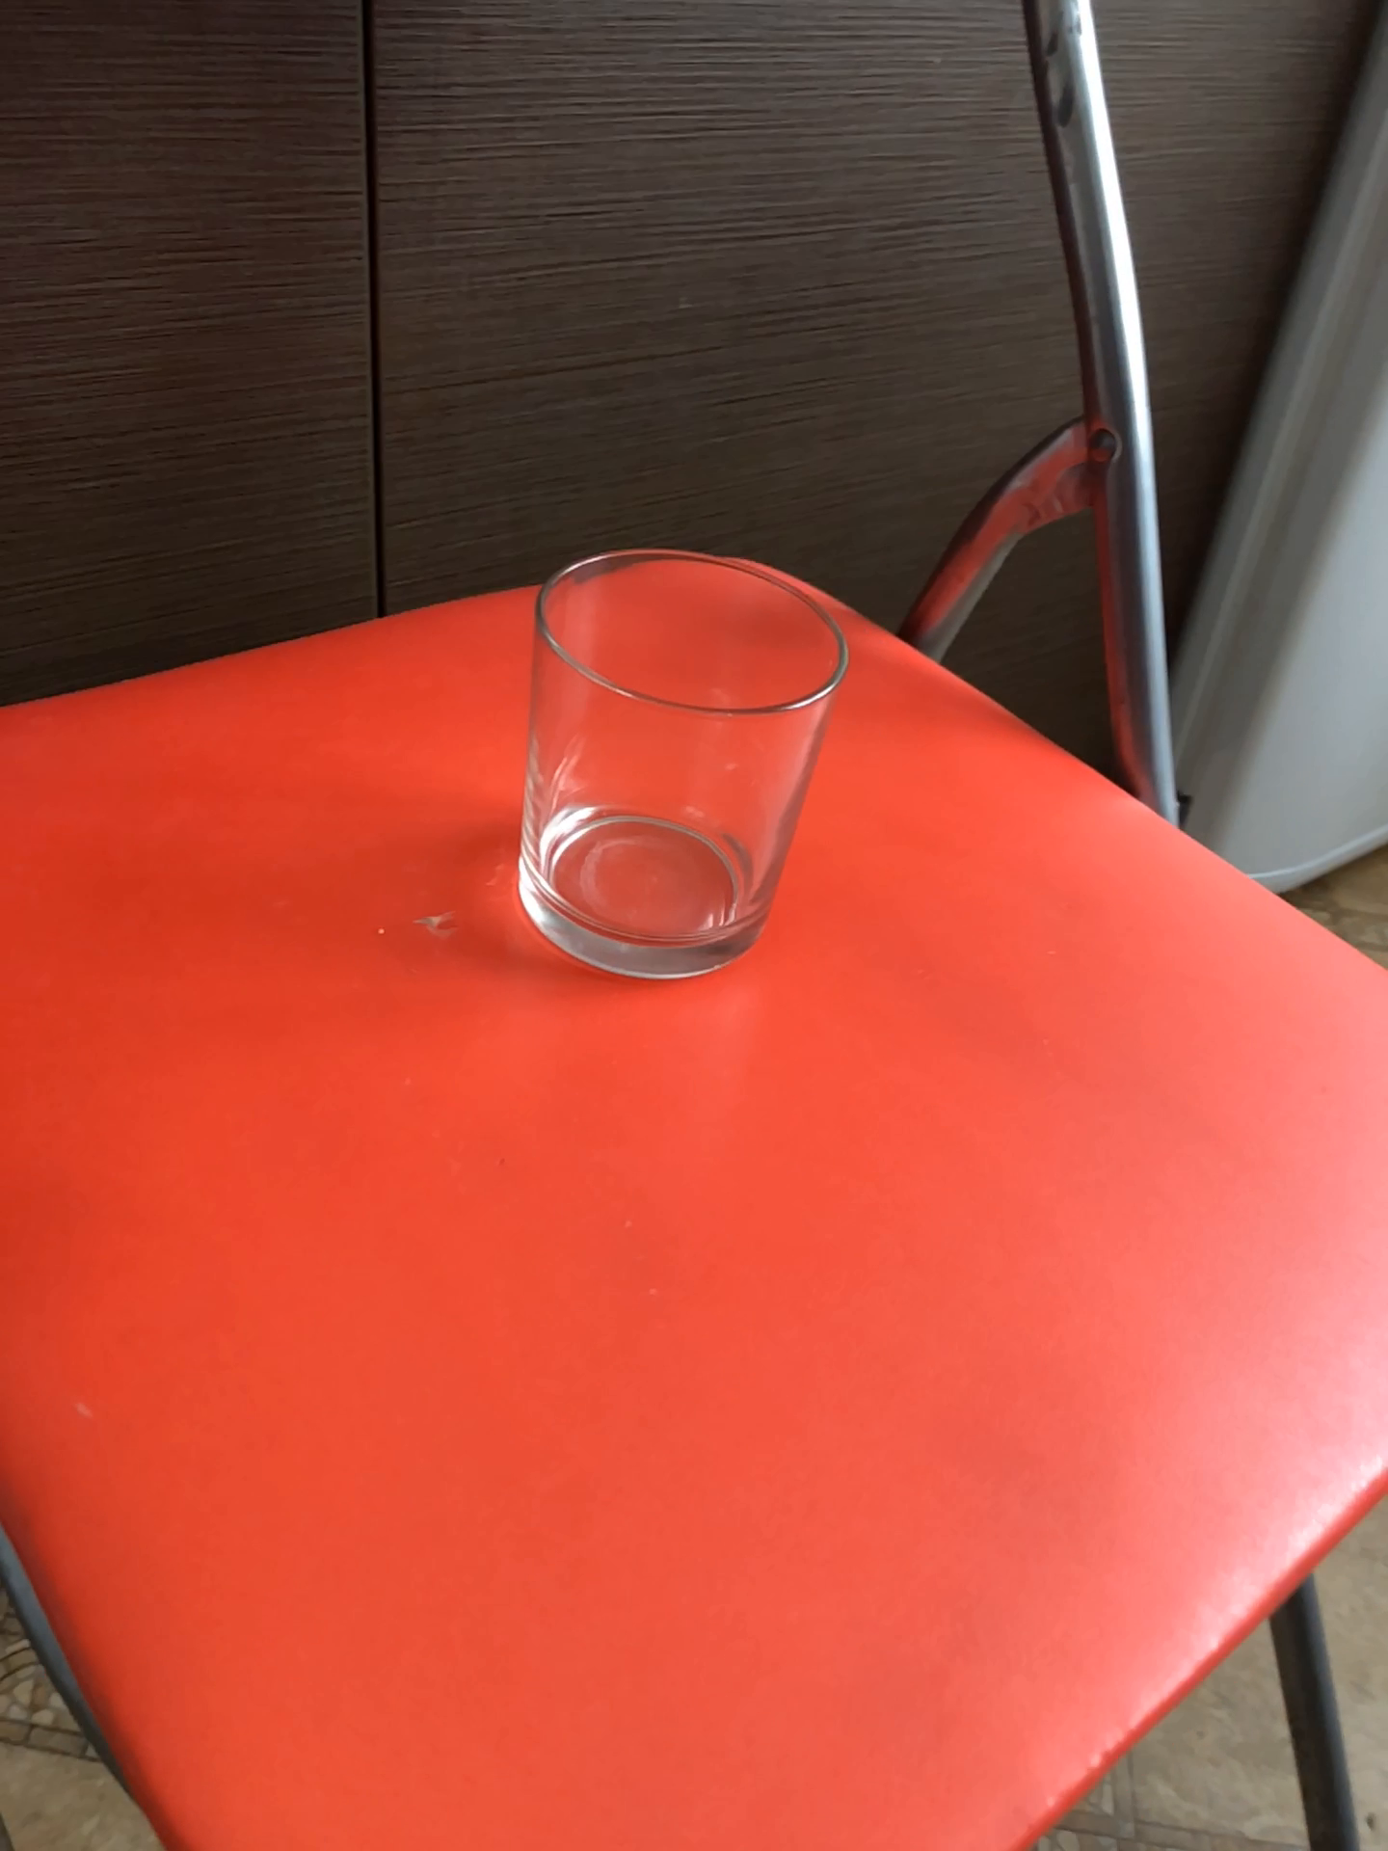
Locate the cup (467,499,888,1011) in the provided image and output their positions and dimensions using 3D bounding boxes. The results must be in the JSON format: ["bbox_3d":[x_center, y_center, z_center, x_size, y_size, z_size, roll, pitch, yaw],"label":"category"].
[{"bbox_3d":[-0.004,-0.043,0.375,0.080,0.082,0.078,7,38,-5],"label":"cup"}]
